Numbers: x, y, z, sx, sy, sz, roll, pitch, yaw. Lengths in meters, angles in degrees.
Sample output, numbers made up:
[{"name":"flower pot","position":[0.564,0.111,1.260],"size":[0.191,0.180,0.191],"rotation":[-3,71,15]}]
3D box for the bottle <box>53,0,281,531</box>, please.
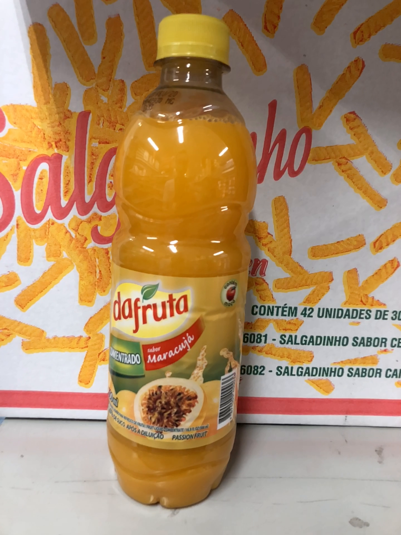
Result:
[{"name":"bottle","position":[-0.013,-0.001,0.191],"size":[0.070,0.199,0.060],"rotation":[7,15,11]}]
